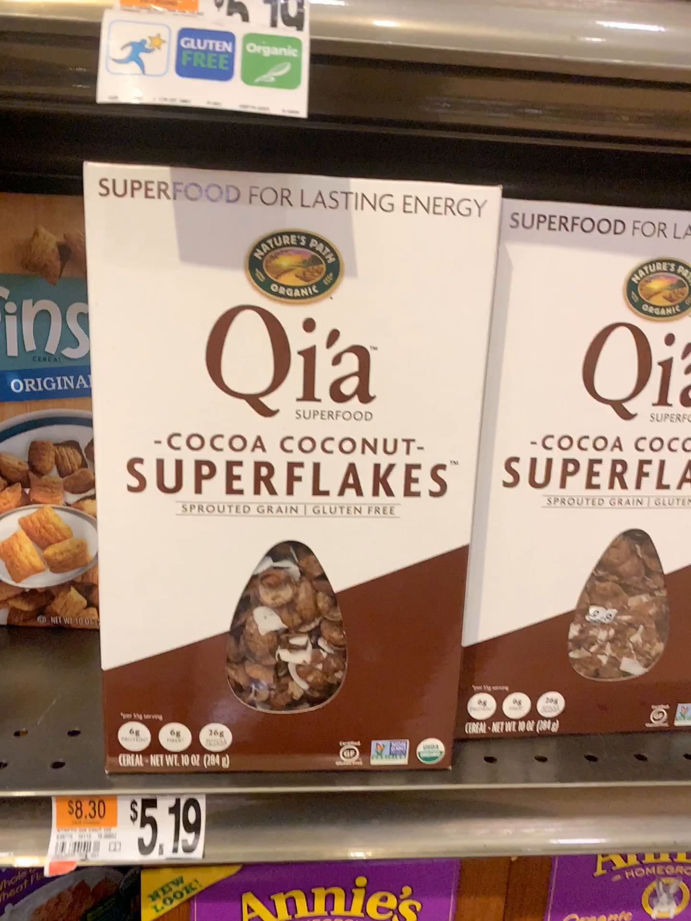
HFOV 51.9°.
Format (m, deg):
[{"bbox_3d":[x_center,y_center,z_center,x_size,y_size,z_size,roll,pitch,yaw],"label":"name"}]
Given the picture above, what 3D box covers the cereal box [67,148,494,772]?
[{"bbox_3d":[-0.031,0.007,0.324,0.160,0.259,0.060,2,13,-6],"label":"cereal box"}]
